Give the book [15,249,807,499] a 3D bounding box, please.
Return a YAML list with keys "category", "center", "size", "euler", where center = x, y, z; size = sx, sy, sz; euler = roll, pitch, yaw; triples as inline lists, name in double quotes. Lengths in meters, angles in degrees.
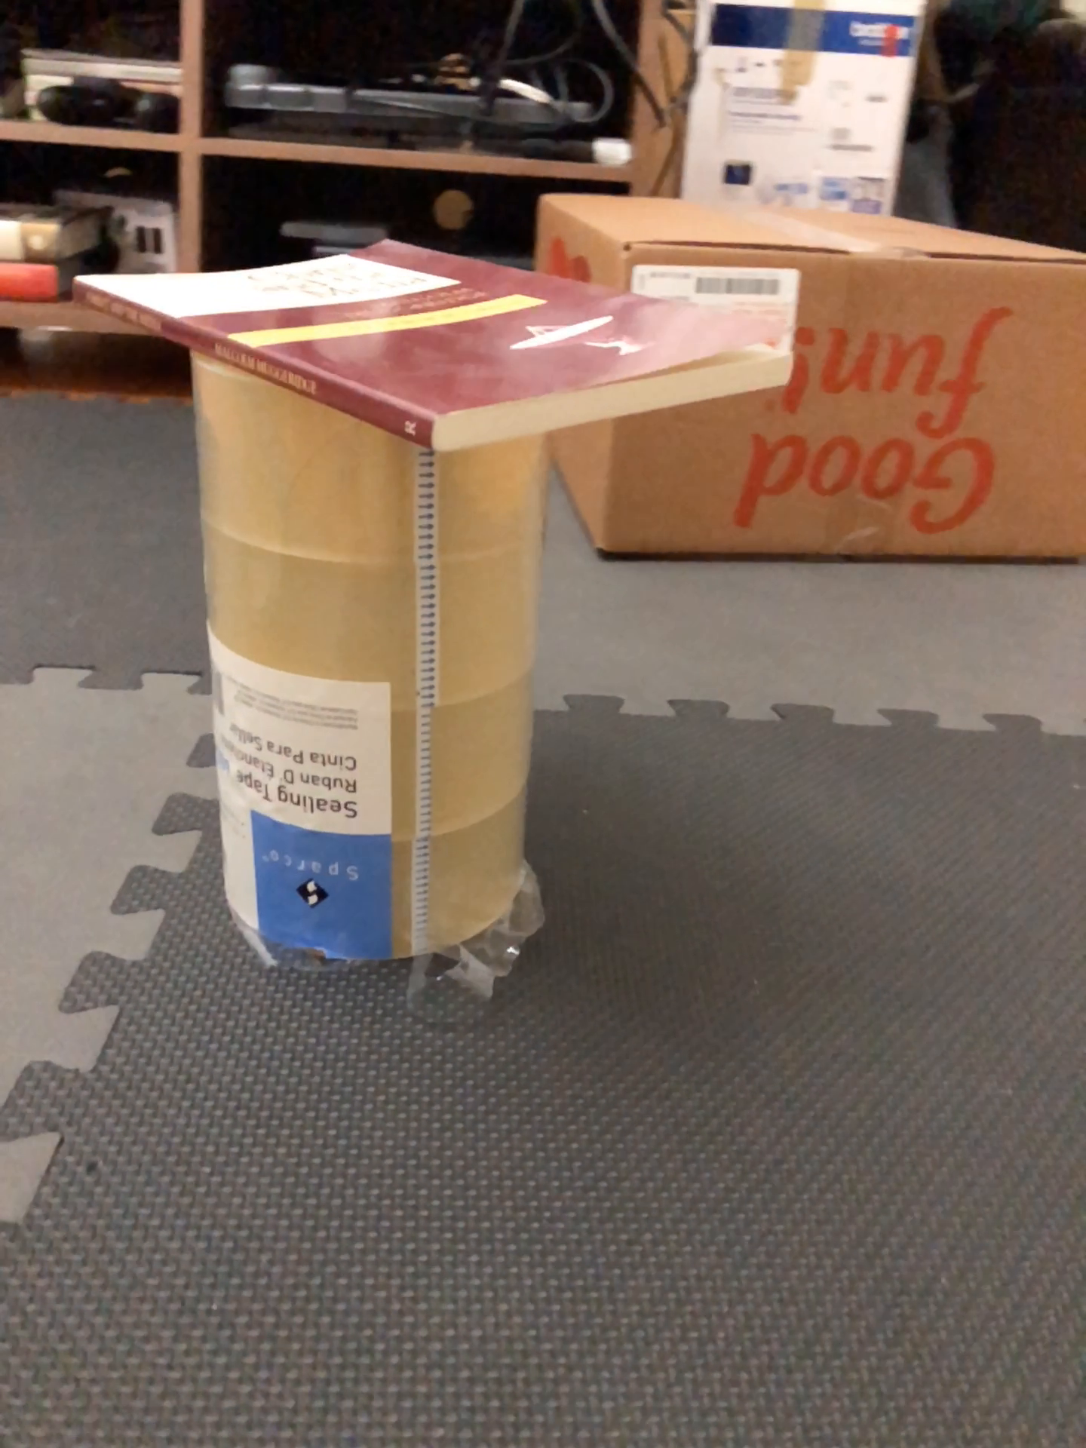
- category: "book"
  center: [-0.048, -0.119, 0.367]
  size: [0.140, 0.020, 0.211]
  euler: [-21, 37, -39]
